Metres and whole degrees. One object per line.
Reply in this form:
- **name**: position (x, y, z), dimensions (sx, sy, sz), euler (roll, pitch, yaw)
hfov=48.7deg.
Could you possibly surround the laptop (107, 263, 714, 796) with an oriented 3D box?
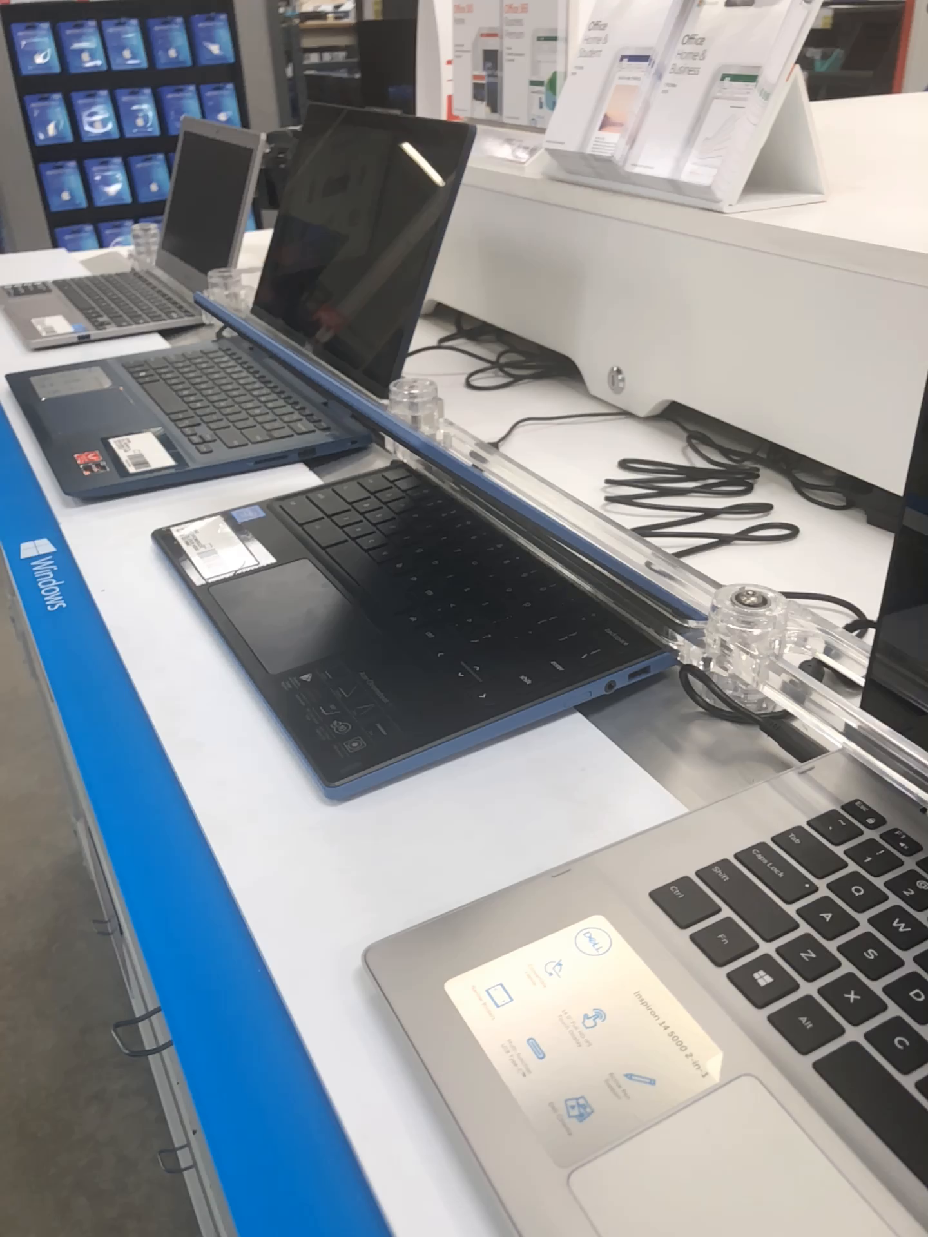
- **laptop**: position (-0.045, -0.074, 0.520), dimensions (0.186, 0.128, 0.281), euler (-18, 34, -22)

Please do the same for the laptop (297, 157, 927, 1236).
- **laptop**: position (0.130, 0.049, 0.209), dimensions (0.221, 0.211, 0.297), euler (-17, 33, -20)

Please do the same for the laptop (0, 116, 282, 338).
- **laptop**: position (-0.393, -0.455, 1.159), dimensions (0.258, 0.172, 0.306), euler (-15, 32, -20)

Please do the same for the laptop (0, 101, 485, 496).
- **laptop**: position (-0.201, -0.282, 0.818), dimensions (0.319, 0.196, 0.326), euler (-17, 34, -23)
